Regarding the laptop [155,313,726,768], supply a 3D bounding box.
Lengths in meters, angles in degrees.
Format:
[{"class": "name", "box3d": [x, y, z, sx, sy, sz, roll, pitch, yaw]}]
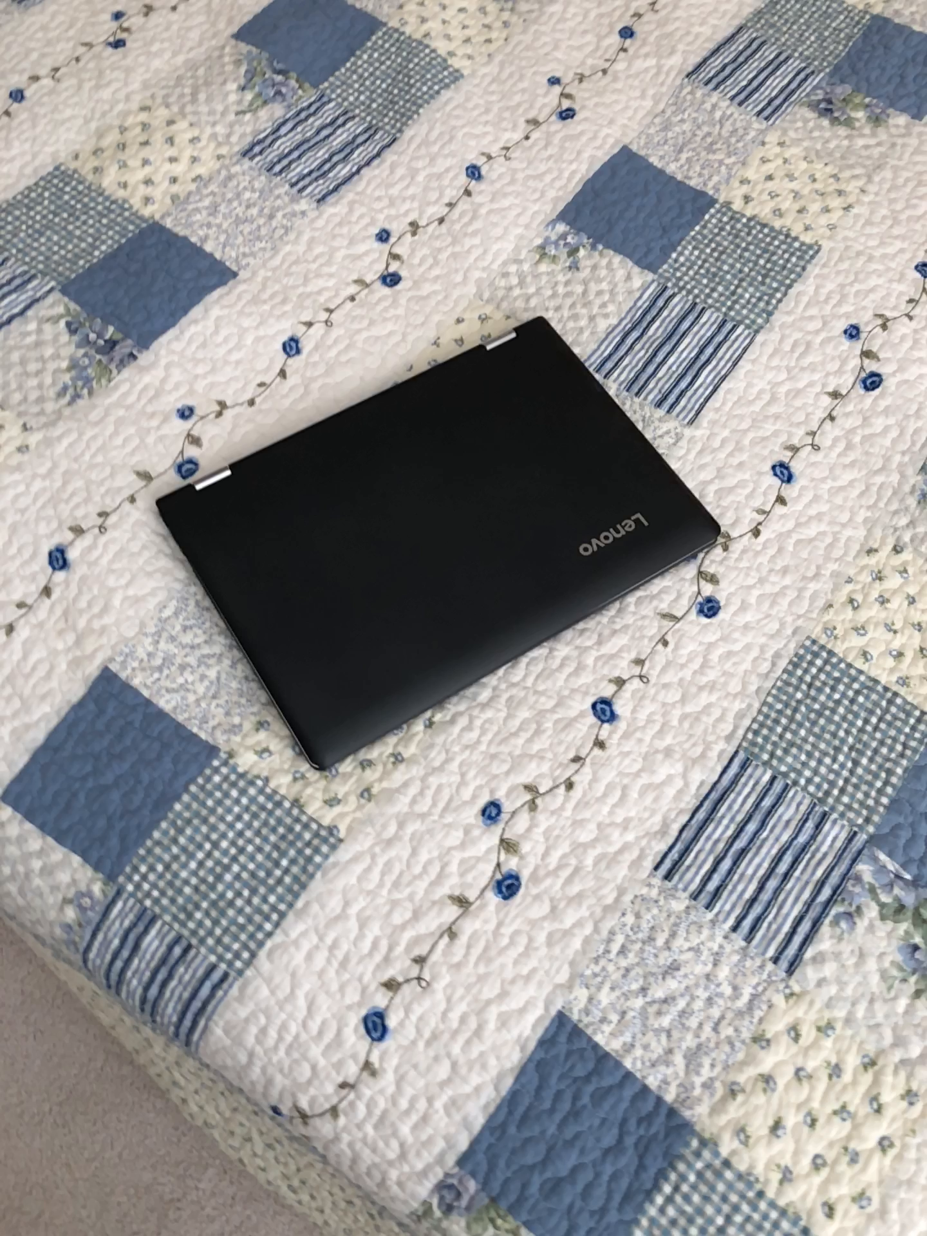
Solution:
[{"class": "laptop", "box3d": [-0.015, -0.072, 0.701, 0.320, 0.008, 0.224, -29, 68, -16]}]
